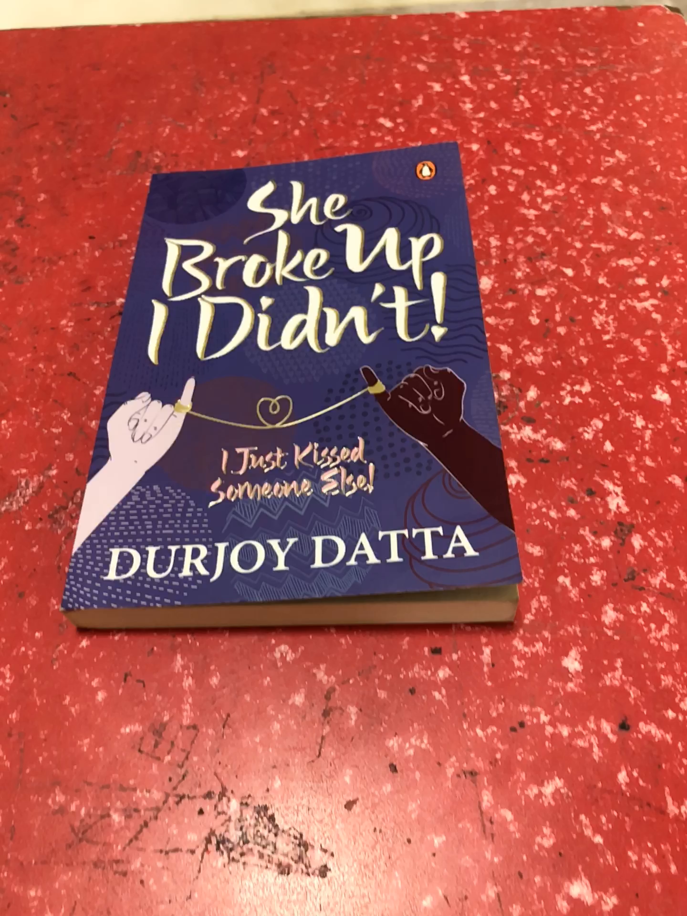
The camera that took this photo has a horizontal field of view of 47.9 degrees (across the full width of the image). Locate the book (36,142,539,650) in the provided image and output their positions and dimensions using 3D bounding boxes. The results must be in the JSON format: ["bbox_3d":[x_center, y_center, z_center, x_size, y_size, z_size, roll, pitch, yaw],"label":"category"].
[{"bbox_3d":[-0.015,-0.033,0.269,0.130,0.040,0.190,-2,55,2],"label":"book"}]
